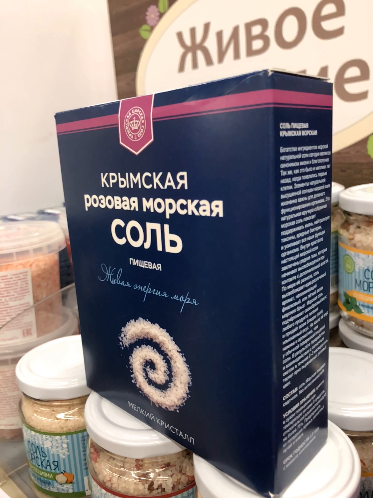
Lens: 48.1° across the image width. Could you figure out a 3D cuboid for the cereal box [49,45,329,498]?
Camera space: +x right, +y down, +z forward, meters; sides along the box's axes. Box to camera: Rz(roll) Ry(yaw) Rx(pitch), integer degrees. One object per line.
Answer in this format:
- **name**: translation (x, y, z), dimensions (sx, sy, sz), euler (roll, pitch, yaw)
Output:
- **cereal box**: translation (-0.004, 0.005, 0.187), dimensions (0.120, 0.149, 0.040), euler (9, 18, 43)
